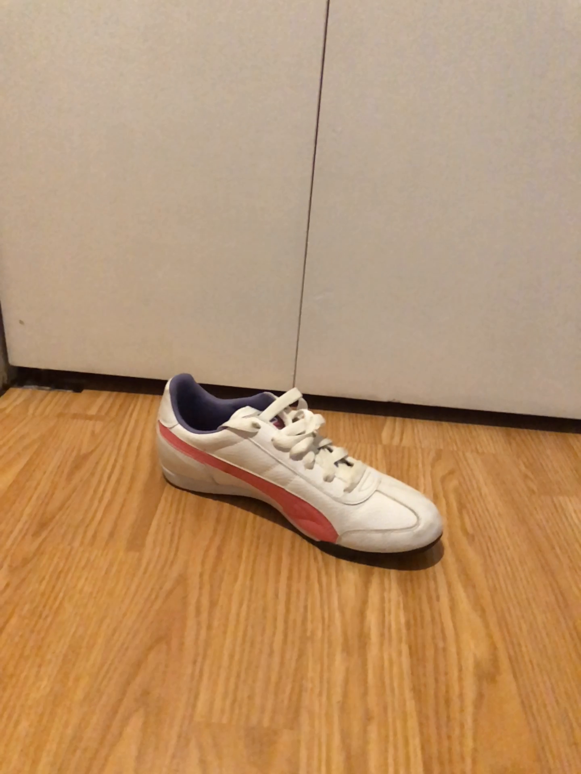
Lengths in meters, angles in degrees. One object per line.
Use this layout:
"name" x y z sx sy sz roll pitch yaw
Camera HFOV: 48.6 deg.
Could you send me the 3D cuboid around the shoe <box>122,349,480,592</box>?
"shoe" 0.004 0.054 0.518 0.260 0.080 0.100 16 30 20
